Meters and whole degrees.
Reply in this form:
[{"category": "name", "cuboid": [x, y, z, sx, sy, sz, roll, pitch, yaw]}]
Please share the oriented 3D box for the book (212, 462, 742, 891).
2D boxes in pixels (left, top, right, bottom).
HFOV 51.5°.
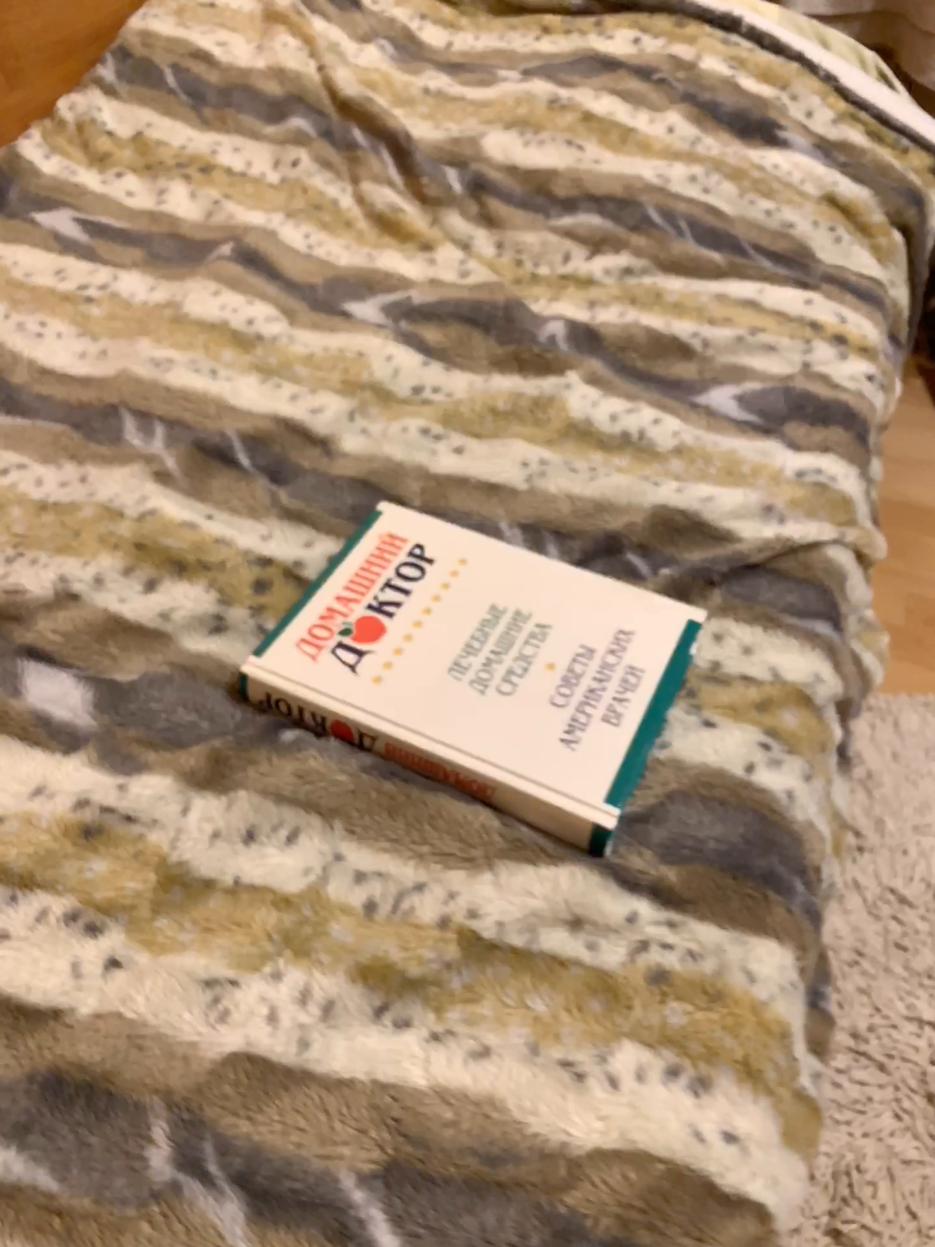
[{"category": "book", "cuboid": [0.012, 0.014, 0.561, 0.240, 0.040, 0.191, 22, 51, 15]}]
